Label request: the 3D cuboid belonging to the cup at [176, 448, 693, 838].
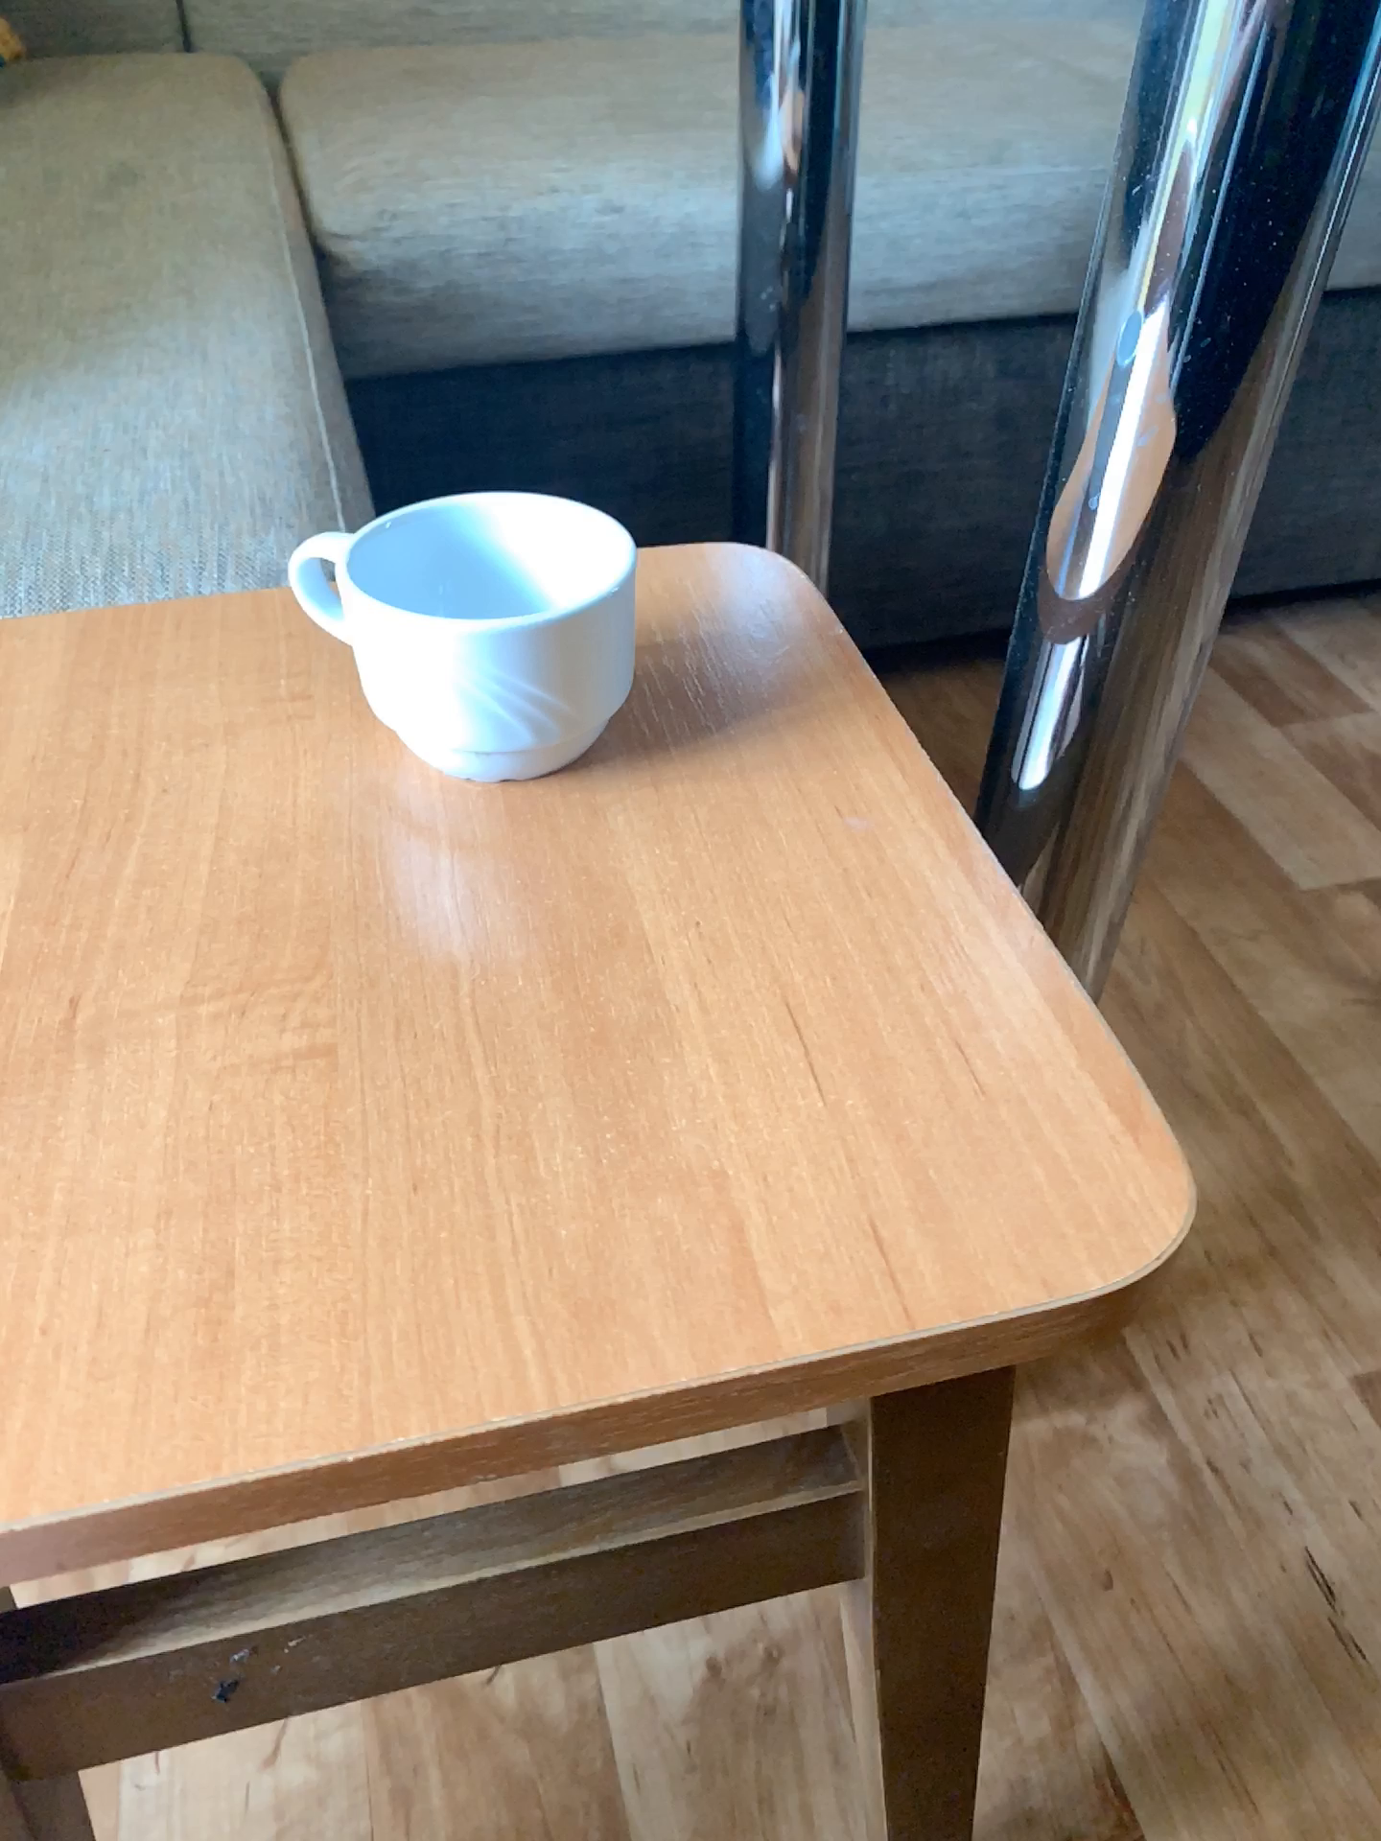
[{"bbox_3d":[-0.062,-0.076,0.371,0.100,0.050,0.080,17,43,20],"label":"cup"}]
